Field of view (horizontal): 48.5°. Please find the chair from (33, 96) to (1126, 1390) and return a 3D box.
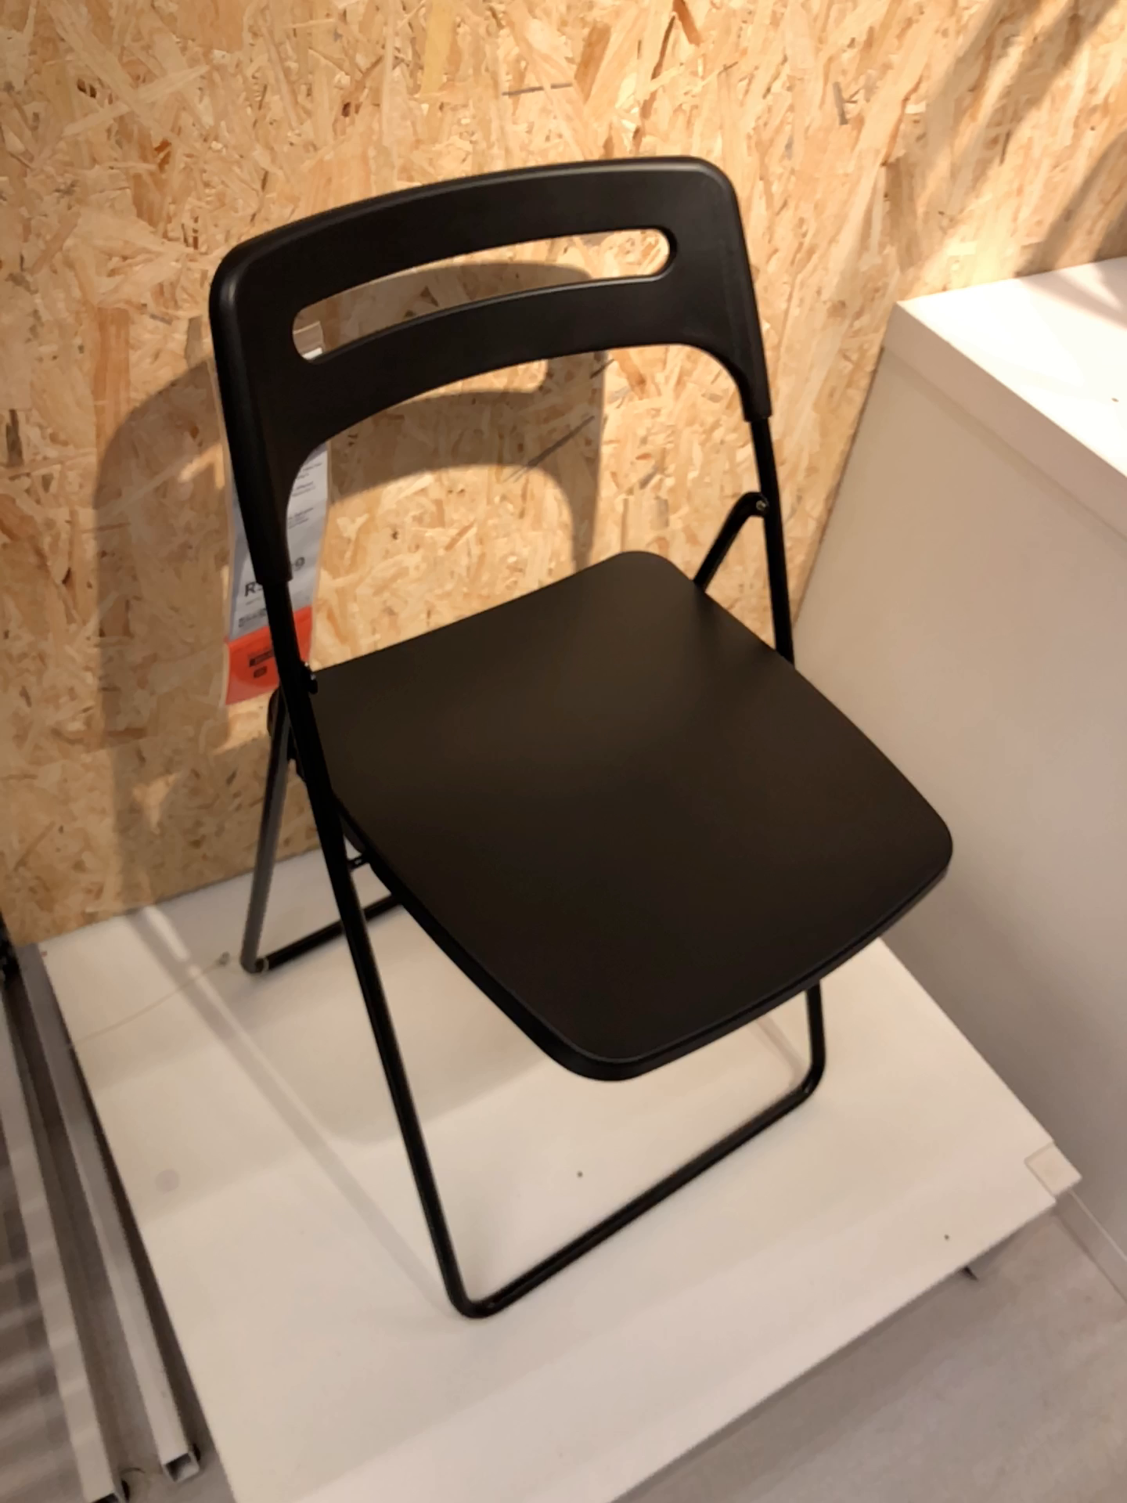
[{"bbox_3d":[-0.002,0.004,0.977,0.491,0.735,0.522,-23,54,-26],"label":"chair"}]
